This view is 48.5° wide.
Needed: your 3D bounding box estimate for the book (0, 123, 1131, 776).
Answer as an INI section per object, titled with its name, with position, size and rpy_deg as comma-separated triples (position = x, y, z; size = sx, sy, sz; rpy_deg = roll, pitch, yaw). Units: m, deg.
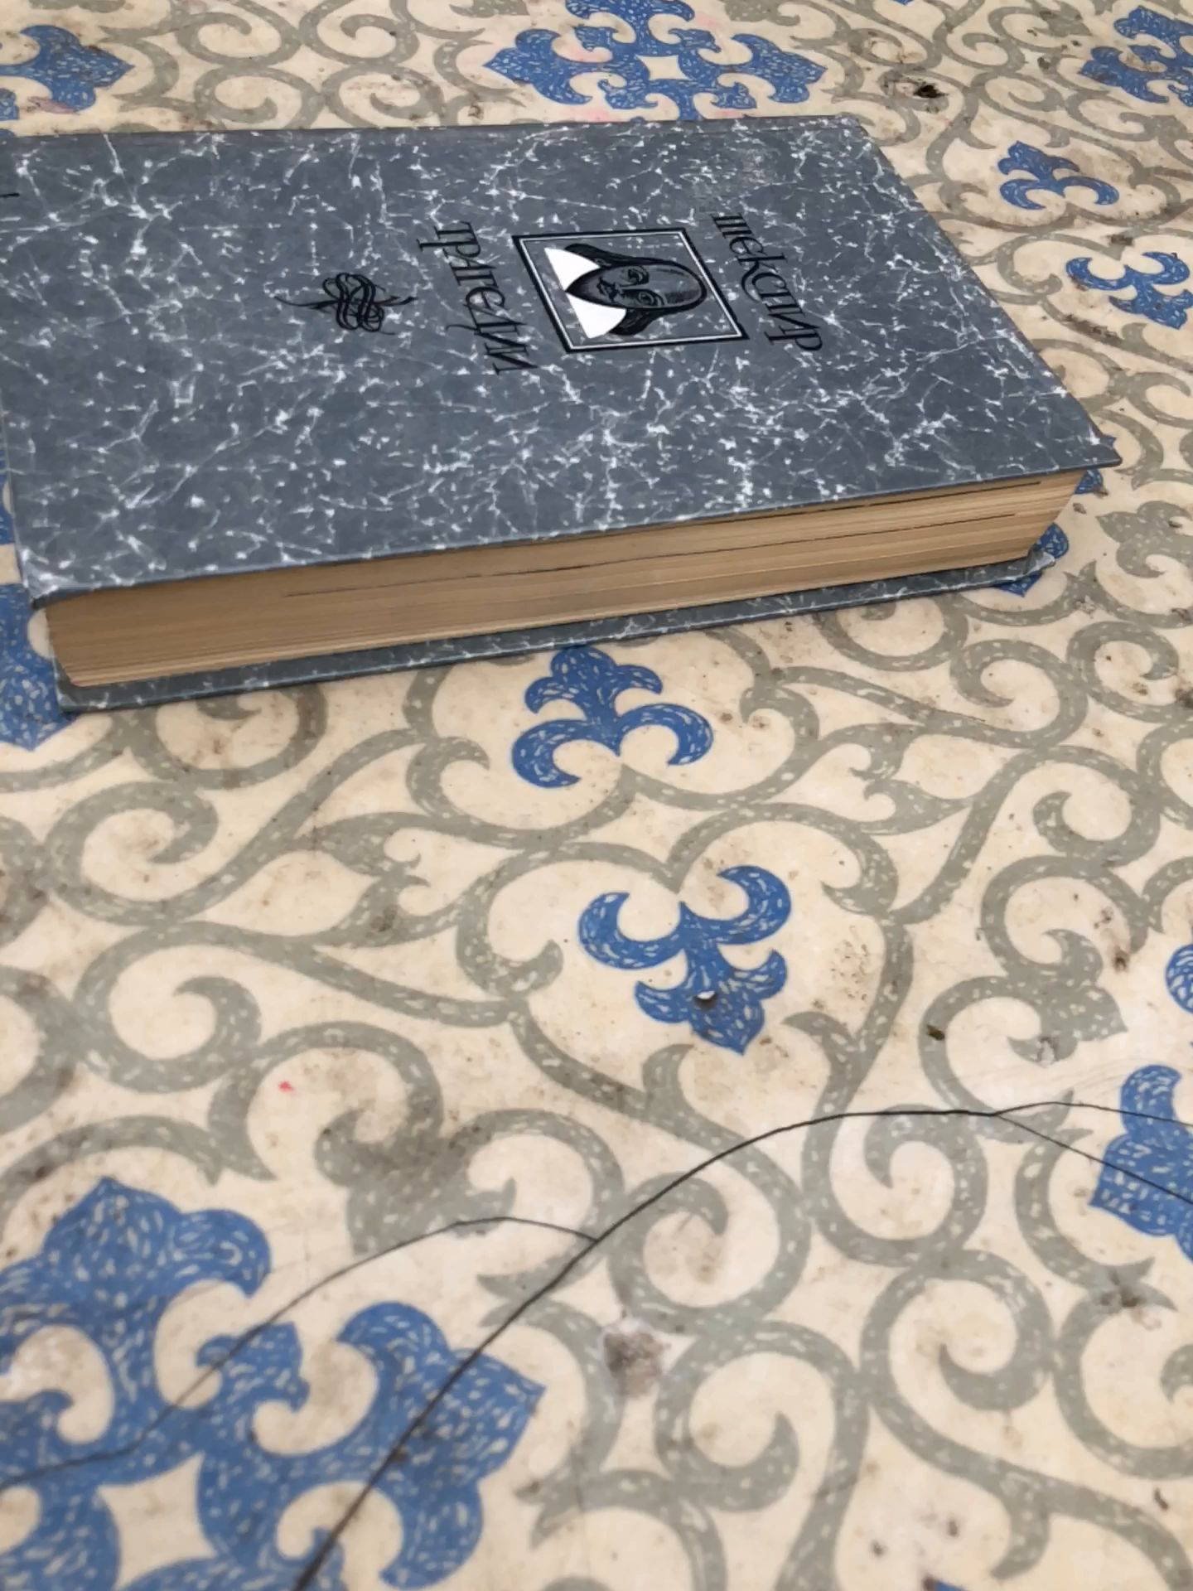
[book]
position = -0.017, -0.085, 0.276
size = 0.207, 0.033, 0.135
rpy_deg = -11, 57, -16
